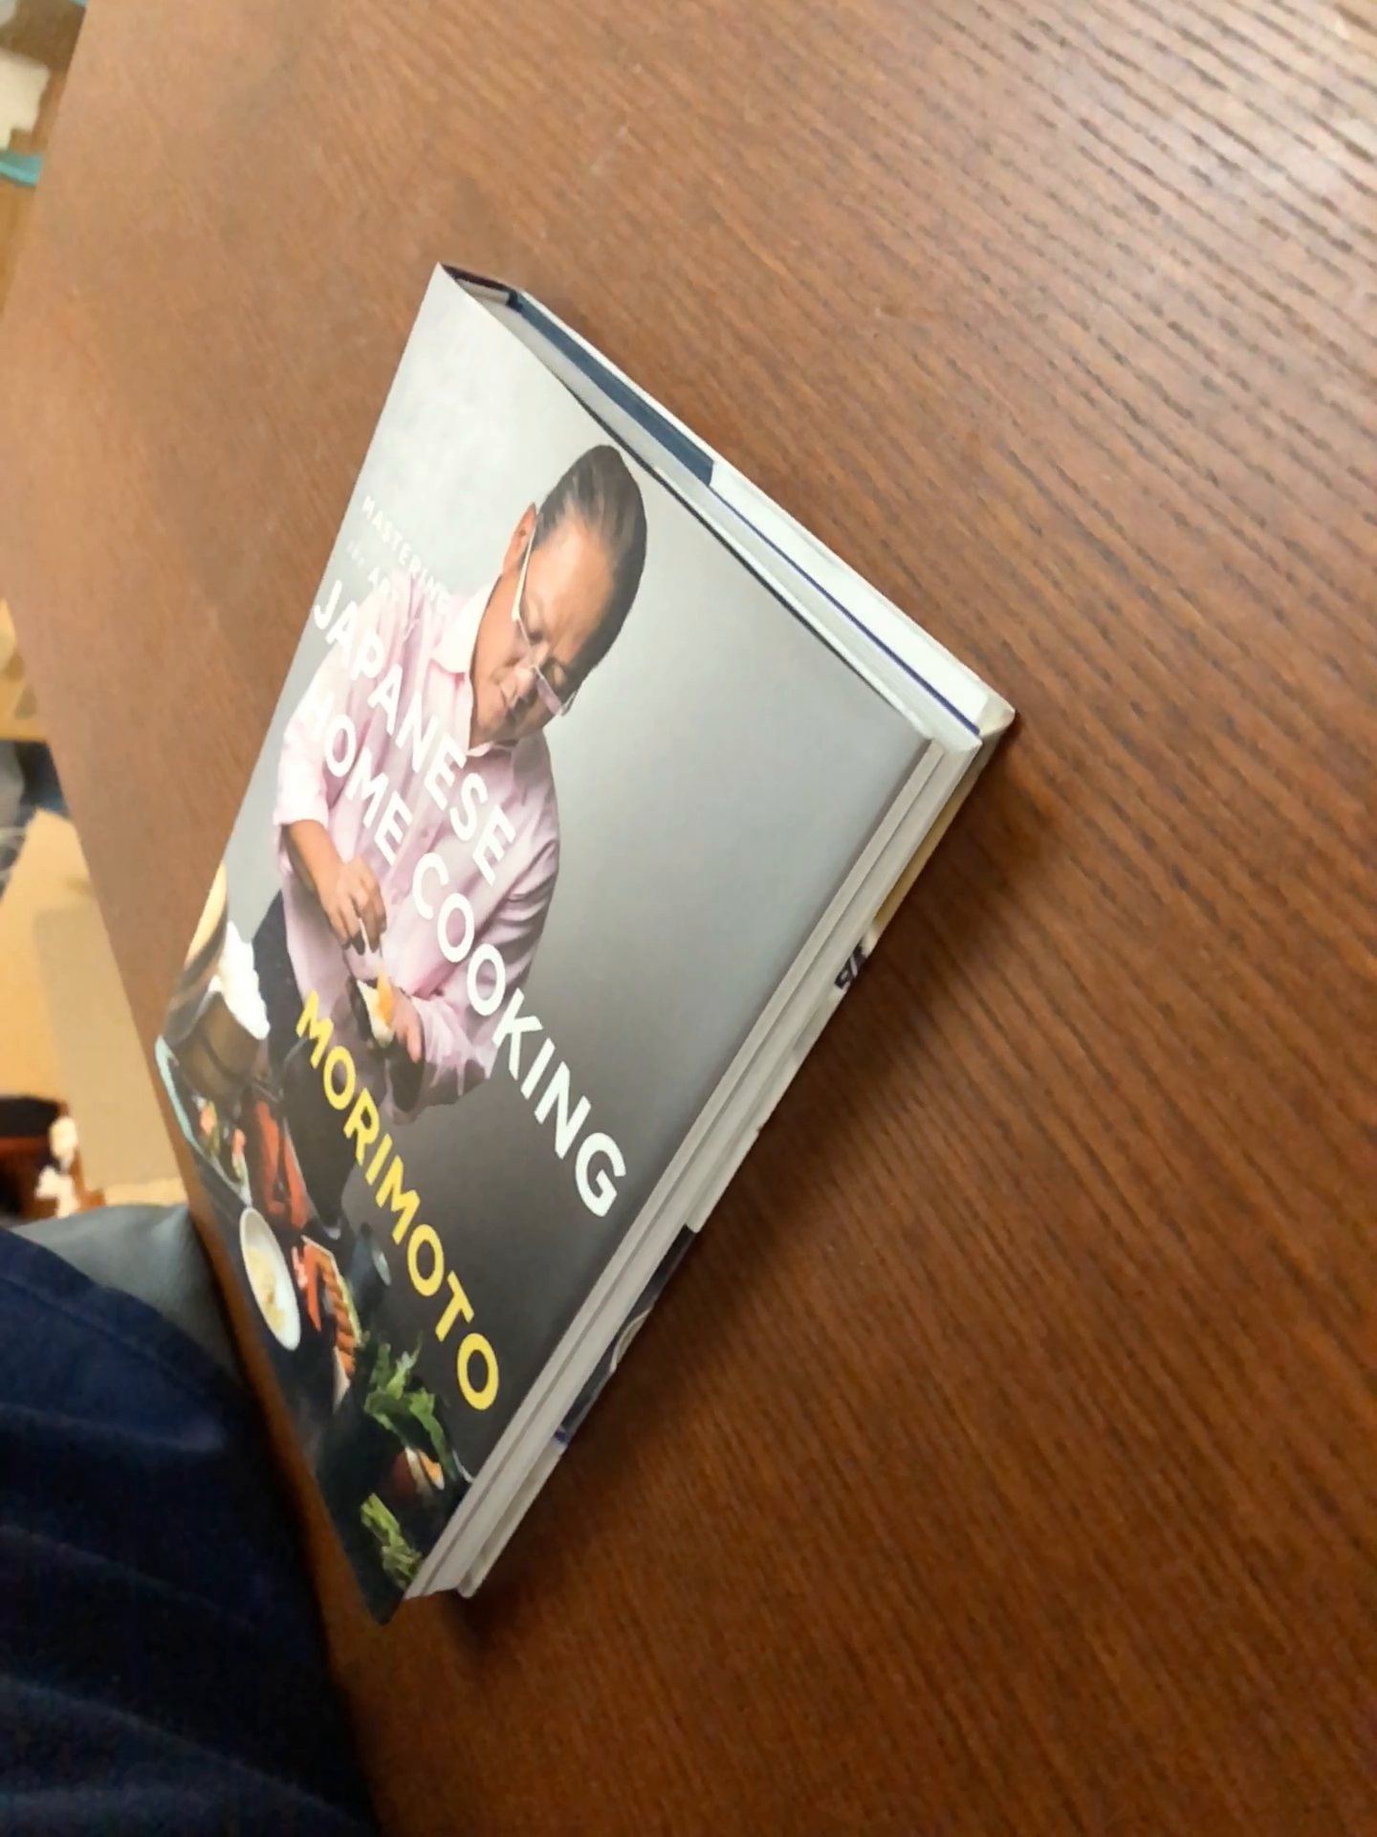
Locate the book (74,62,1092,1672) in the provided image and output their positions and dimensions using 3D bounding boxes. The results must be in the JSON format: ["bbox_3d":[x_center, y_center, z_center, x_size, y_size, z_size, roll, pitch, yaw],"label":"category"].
[{"bbox_3d":[-0.067,-0.010,0.362,0.221,0.030,0.300,53,126,38],"label":"book"}]
